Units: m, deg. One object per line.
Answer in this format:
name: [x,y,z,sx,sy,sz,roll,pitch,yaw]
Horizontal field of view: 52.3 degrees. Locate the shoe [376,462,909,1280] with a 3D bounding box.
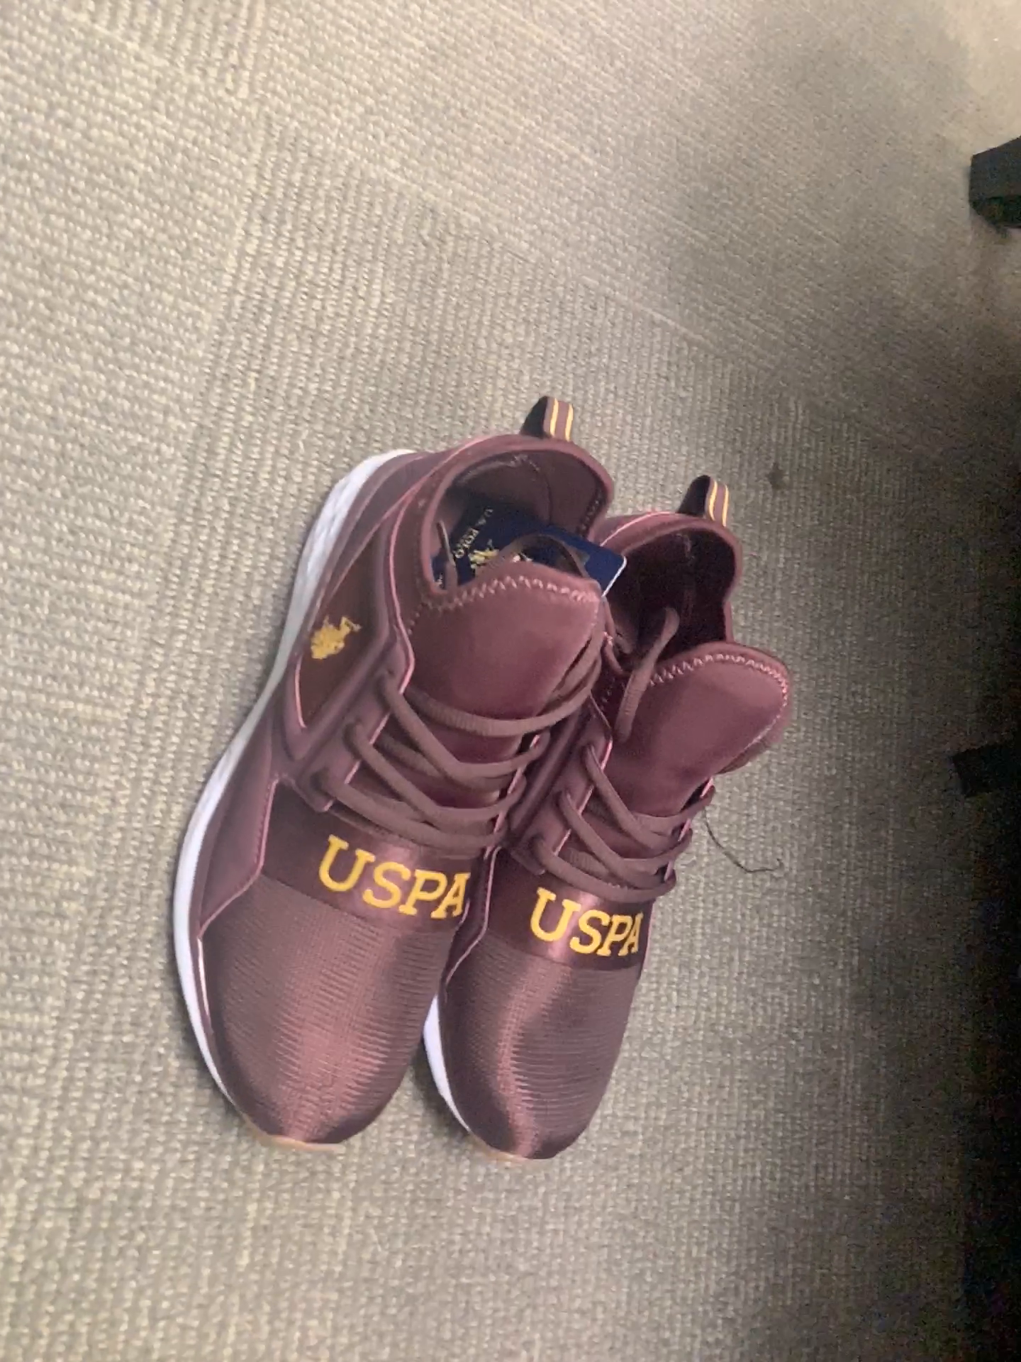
shoe: [0.049,0.069,0.393,0.103,0.149,0.241,18,71,-29]

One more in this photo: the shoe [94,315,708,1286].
shoe: [-0.038,0.040,0.345,0.103,0.155,0.242,18,71,-29]
